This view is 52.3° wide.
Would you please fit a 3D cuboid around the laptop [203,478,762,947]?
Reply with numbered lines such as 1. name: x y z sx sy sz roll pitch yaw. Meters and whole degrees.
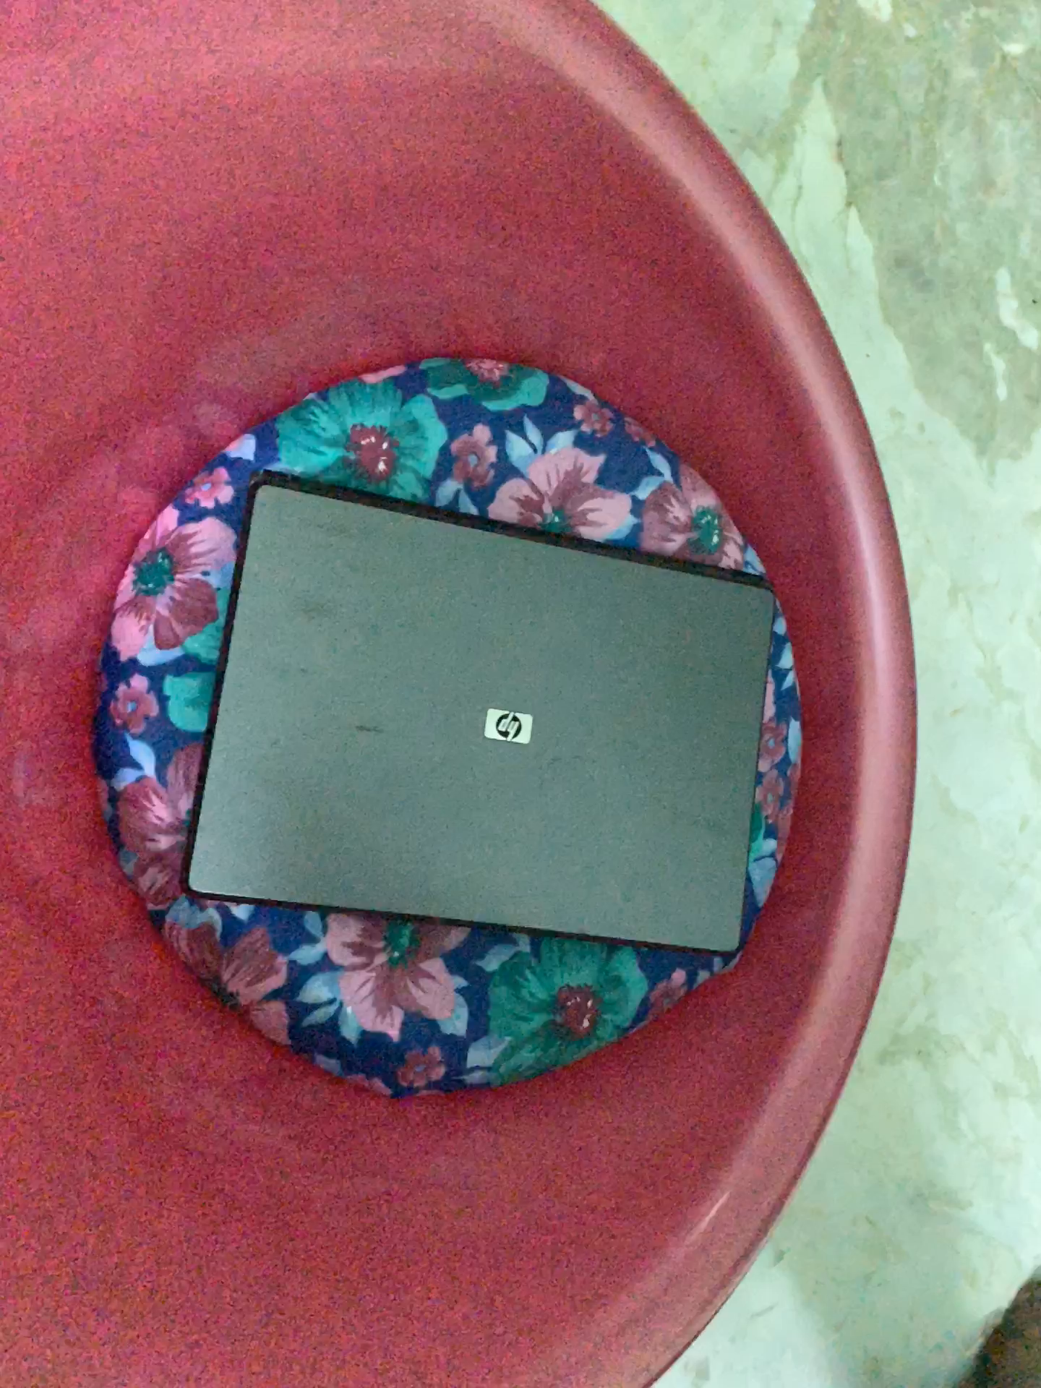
1. laptop: -0.006 0.018 0.602 0.304 0.003 0.222 10 83 -18
